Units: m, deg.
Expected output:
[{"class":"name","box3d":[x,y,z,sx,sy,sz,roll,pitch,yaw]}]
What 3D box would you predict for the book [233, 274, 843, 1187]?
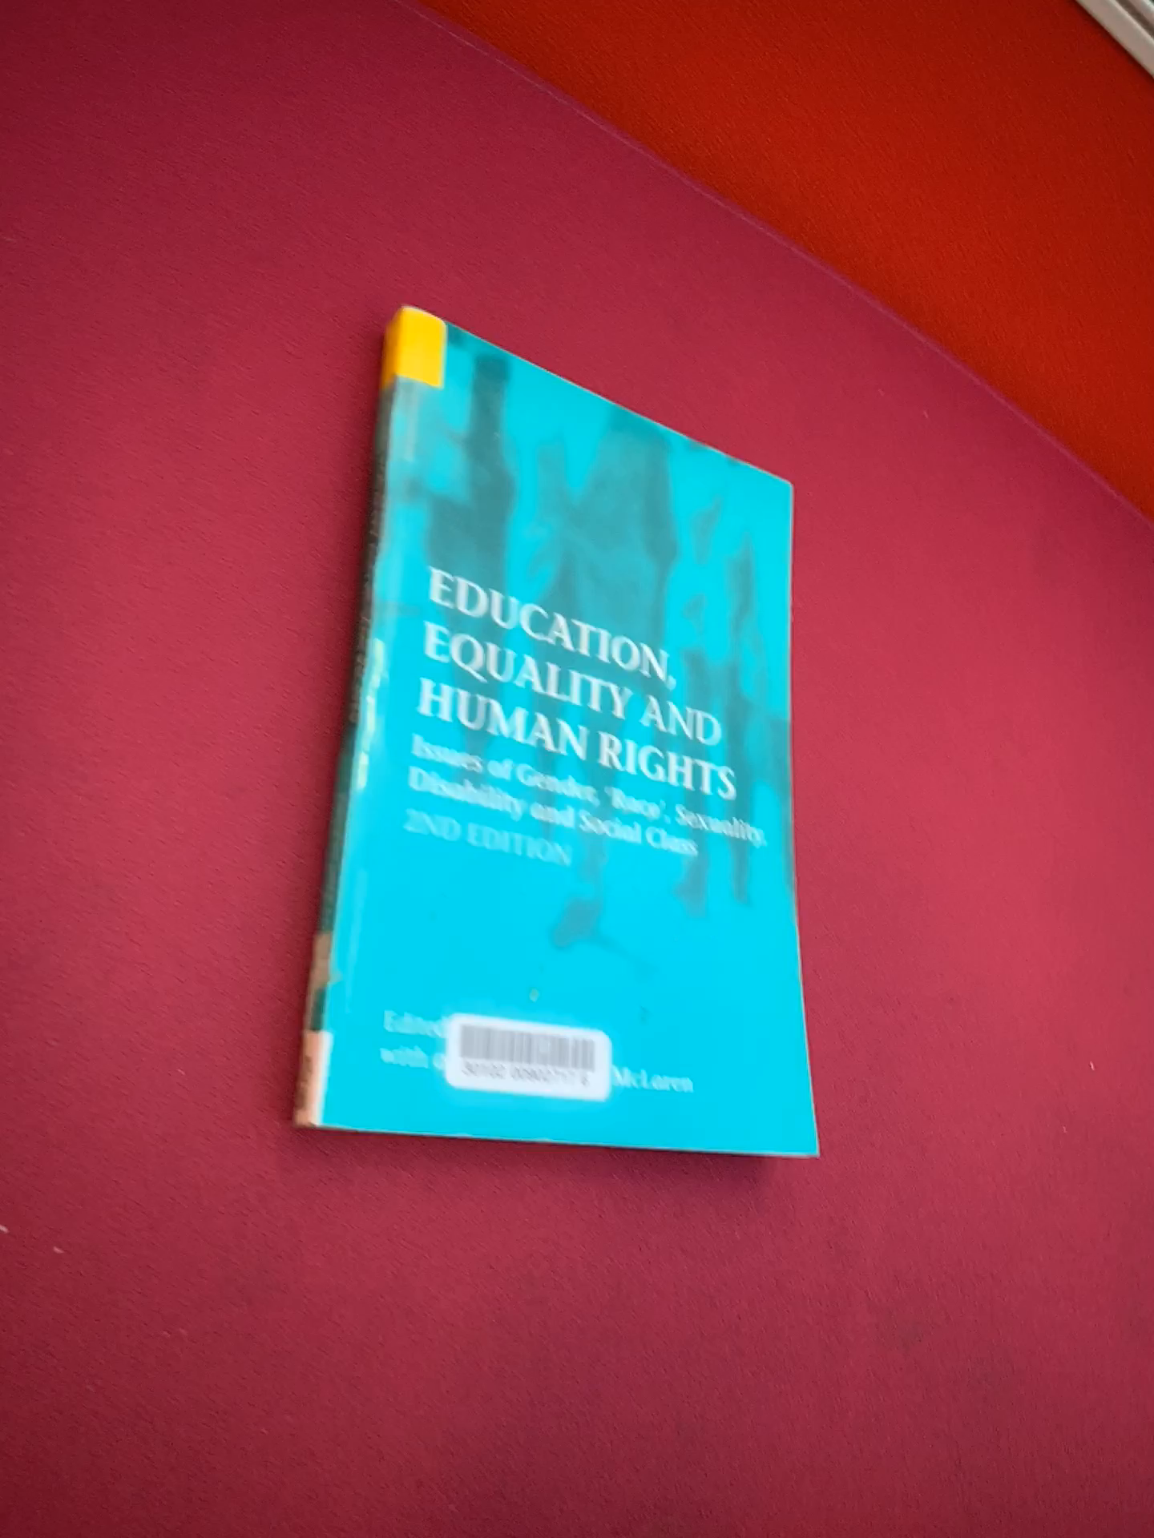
[{"class":"book","box3d":[0.003,-0.006,0.367,0.180,0.030,0.251,15,67,-32]}]
